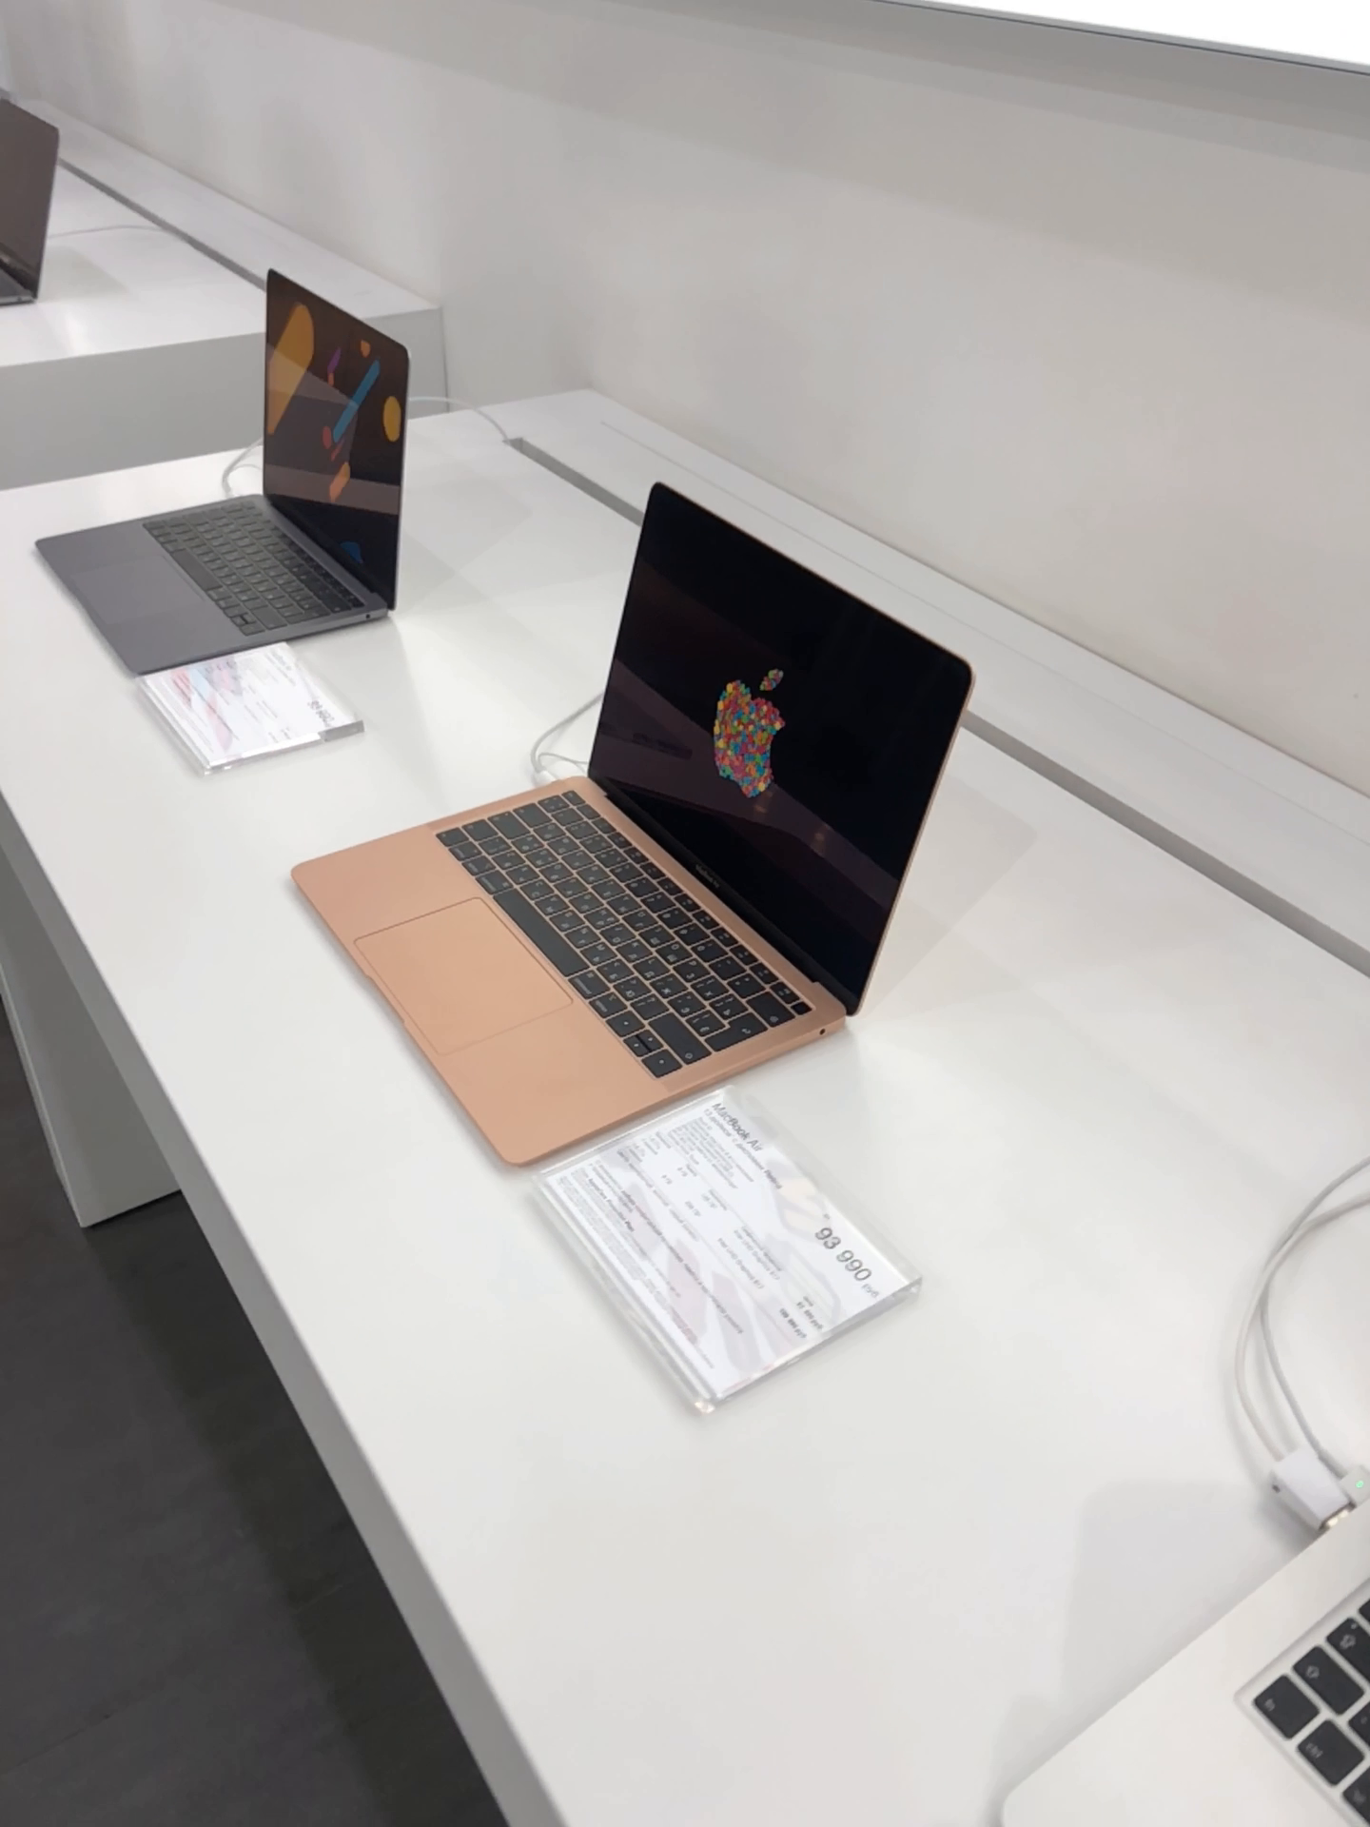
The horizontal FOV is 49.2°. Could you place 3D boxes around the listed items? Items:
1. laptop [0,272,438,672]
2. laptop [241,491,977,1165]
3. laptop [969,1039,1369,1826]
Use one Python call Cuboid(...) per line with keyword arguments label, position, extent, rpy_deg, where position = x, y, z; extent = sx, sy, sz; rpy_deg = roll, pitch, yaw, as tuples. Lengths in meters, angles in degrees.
Cuboid(label="laptop", position=(-0.394, -0.379, 1.247), extent=(0.248, 0.204, 0.295), rpy_deg=(-20, 40, -25))
Cuboid(label="laptop", position=(-0.052, -0.070, 0.826), extent=(0.264, 0.188, 0.298), rpy_deg=(-20, 40, -25))
Cuboid(label="laptop", position=(0.318, 0.260, 0.364), extent=(0.283, 0.209, 0.364), rpy_deg=(-21, 42, -27))
